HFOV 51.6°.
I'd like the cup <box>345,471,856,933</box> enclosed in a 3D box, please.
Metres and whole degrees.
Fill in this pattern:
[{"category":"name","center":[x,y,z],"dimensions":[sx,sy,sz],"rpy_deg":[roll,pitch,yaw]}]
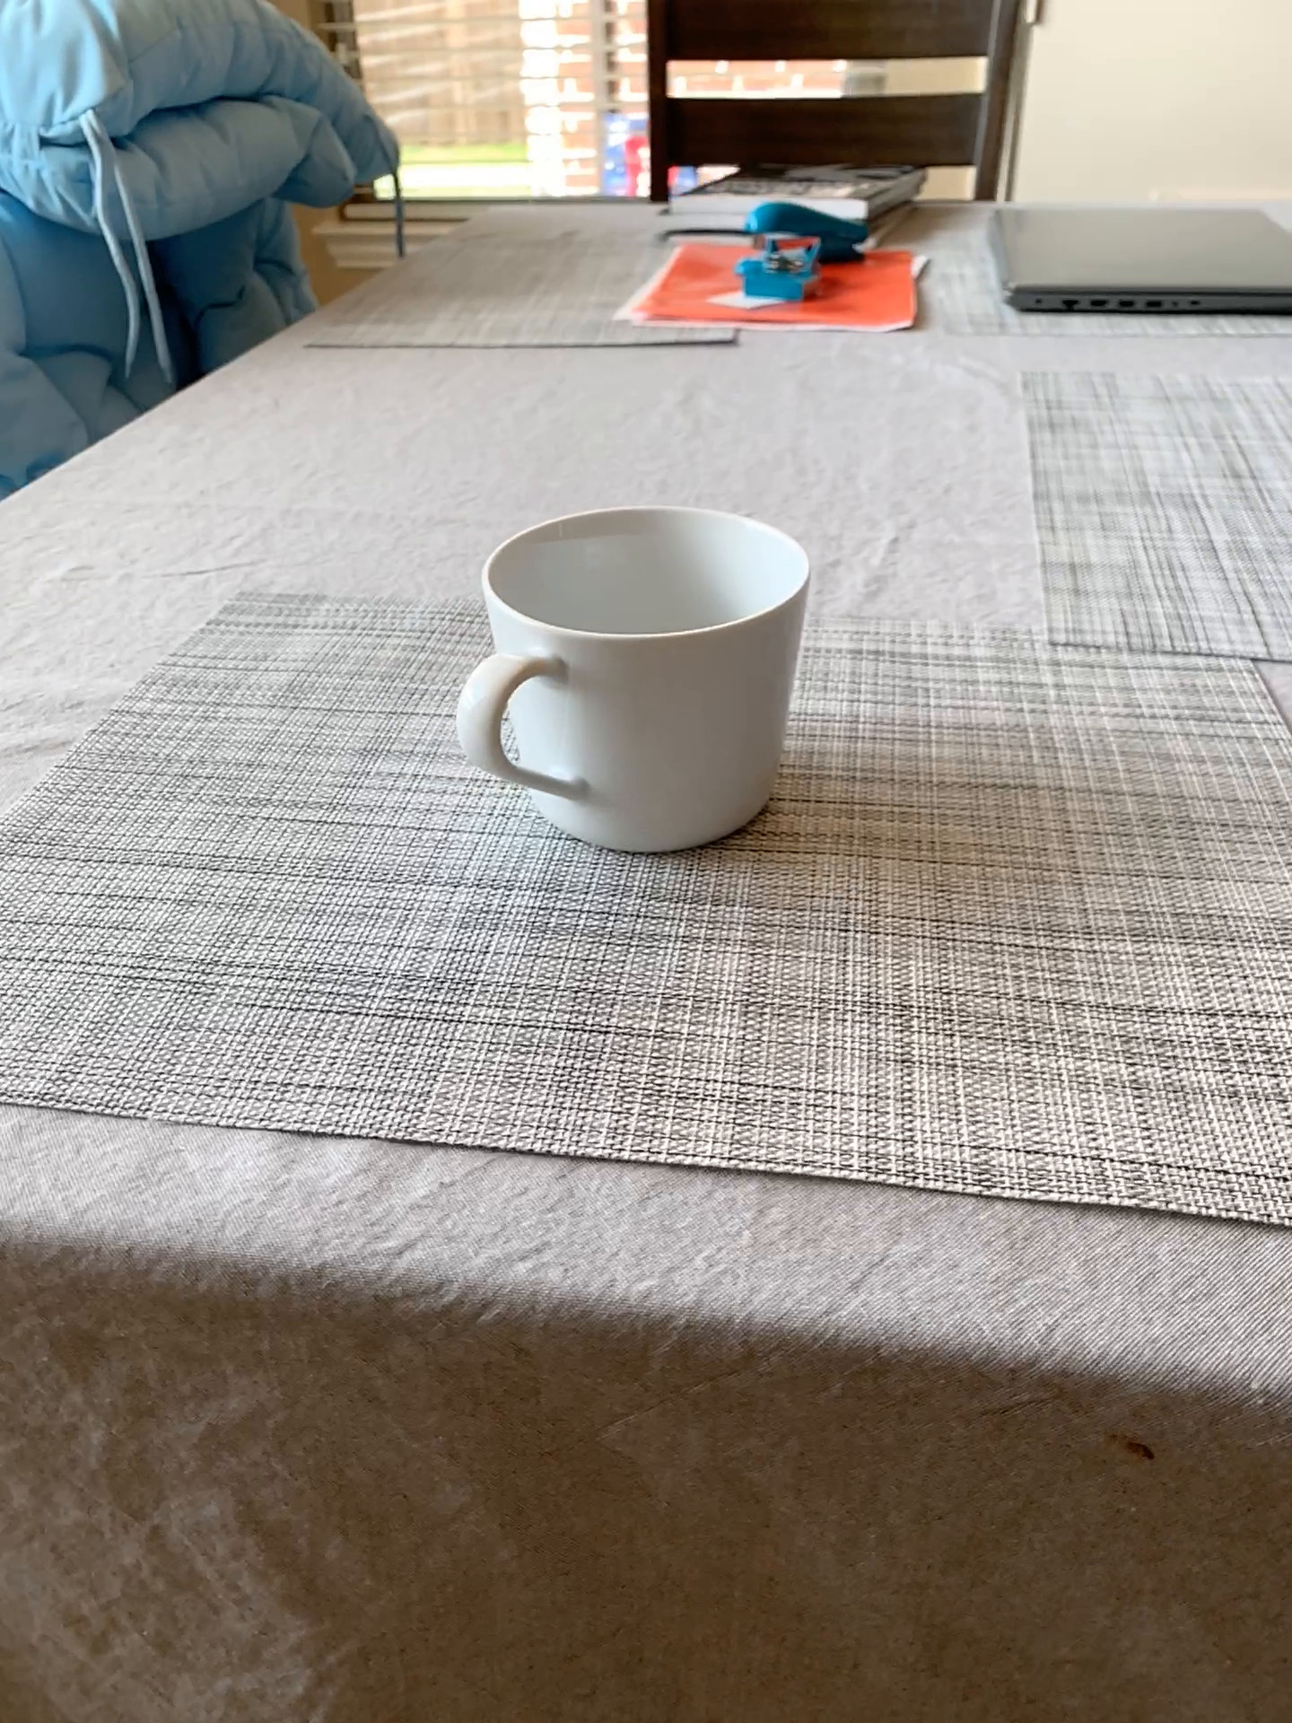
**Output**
[{"category":"cup","center":[-0.009,-0.057,0.419],"dimensions":[0.100,0.081,0.121],"rpy_deg":[20,39,28]}]
